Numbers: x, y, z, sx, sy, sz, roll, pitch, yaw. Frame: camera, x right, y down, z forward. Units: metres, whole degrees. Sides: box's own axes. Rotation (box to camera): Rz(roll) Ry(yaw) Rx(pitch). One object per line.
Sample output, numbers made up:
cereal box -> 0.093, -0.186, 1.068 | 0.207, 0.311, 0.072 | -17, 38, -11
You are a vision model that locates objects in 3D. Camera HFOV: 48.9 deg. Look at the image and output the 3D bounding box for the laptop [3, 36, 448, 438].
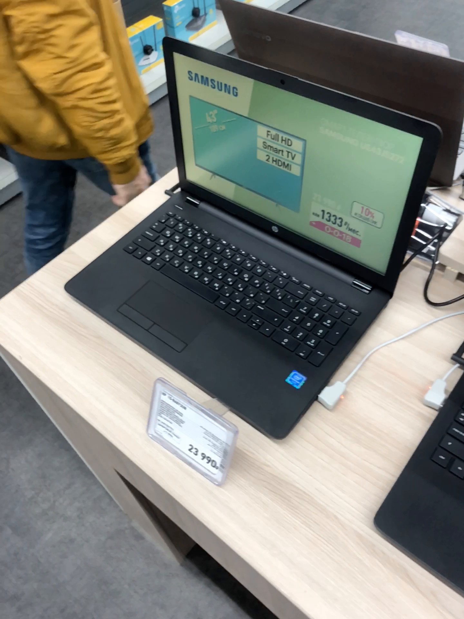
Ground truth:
laptop -> -0.011, -0.106, 0.600 | 0.362, 0.222, 0.274 | 31, 60, 26
